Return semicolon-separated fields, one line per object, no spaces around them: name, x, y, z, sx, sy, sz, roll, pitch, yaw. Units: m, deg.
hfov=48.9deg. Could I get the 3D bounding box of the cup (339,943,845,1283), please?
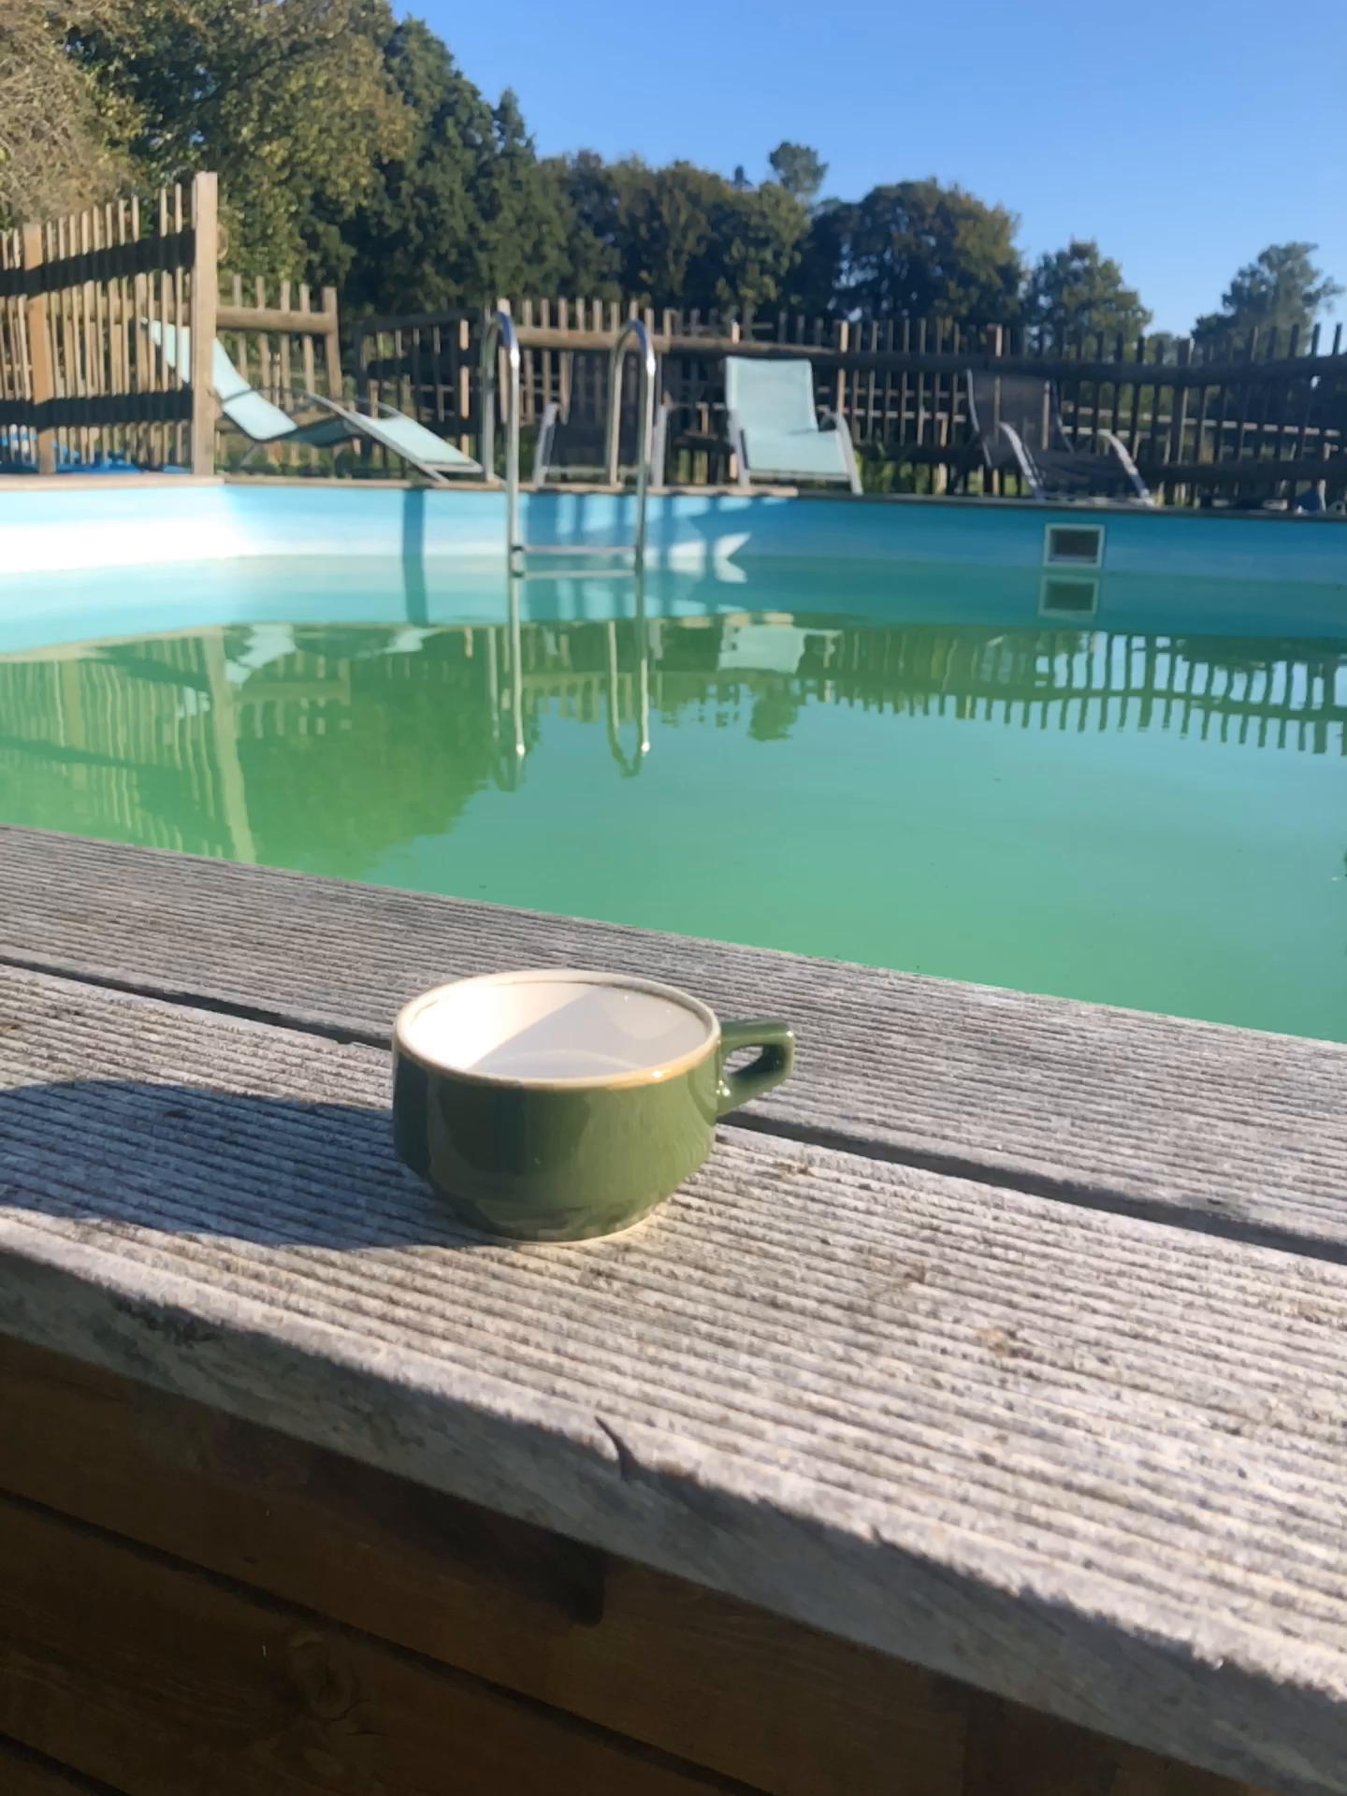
cup;-0.022;0.045;0.352;0.095;0.038;0.083;-6;16;-24
